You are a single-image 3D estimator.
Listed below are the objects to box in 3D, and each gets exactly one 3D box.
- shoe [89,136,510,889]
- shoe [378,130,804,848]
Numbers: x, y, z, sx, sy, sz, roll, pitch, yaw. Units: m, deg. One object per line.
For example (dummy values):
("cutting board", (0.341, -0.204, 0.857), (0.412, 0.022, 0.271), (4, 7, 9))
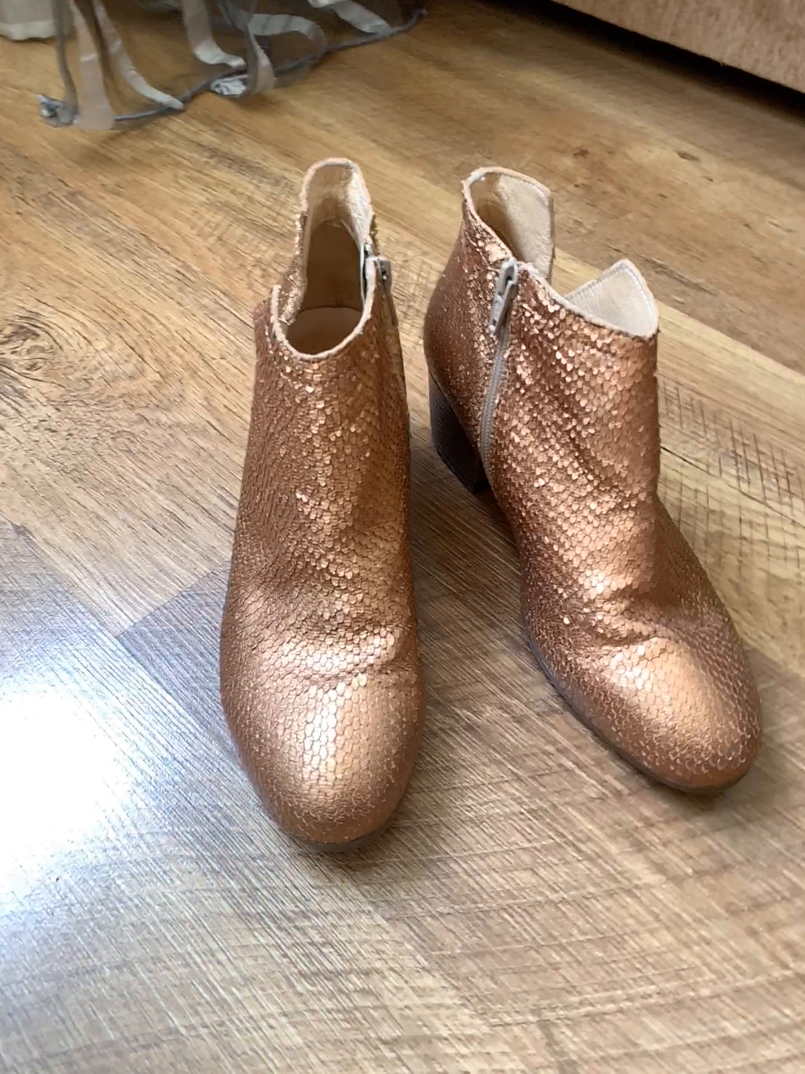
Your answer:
("shoe", (-0.025, -0.017, 0.279), (0.080, 0.129, 0.221), (1, 50, -3))
("shoe", (0.073, -0.028, 0.301), (0.080, 0.129, 0.221), (-17, 53, -17))
